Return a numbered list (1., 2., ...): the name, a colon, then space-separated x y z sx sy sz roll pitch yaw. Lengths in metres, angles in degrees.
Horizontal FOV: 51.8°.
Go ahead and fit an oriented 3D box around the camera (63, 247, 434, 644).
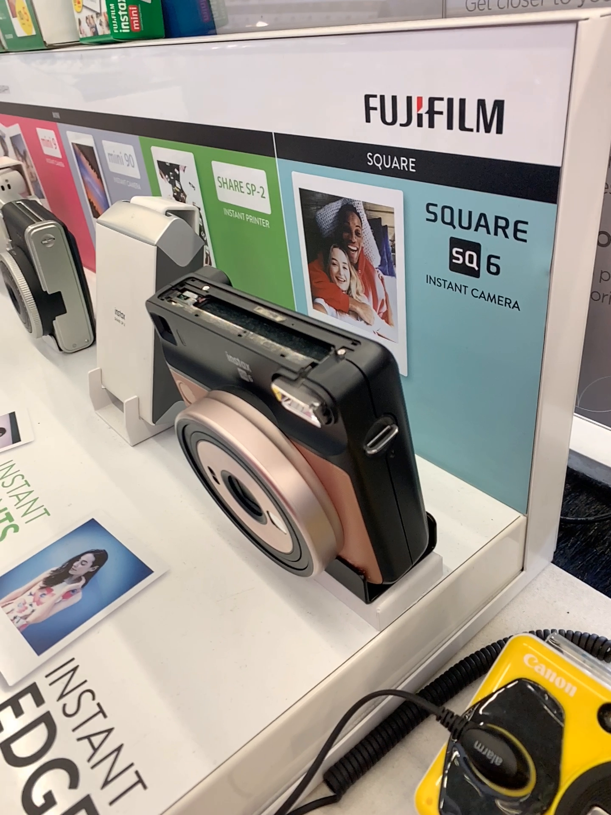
1. camera: -0.022 0.011 0.270 0.060 0.119 0.131 -40 44 -25
